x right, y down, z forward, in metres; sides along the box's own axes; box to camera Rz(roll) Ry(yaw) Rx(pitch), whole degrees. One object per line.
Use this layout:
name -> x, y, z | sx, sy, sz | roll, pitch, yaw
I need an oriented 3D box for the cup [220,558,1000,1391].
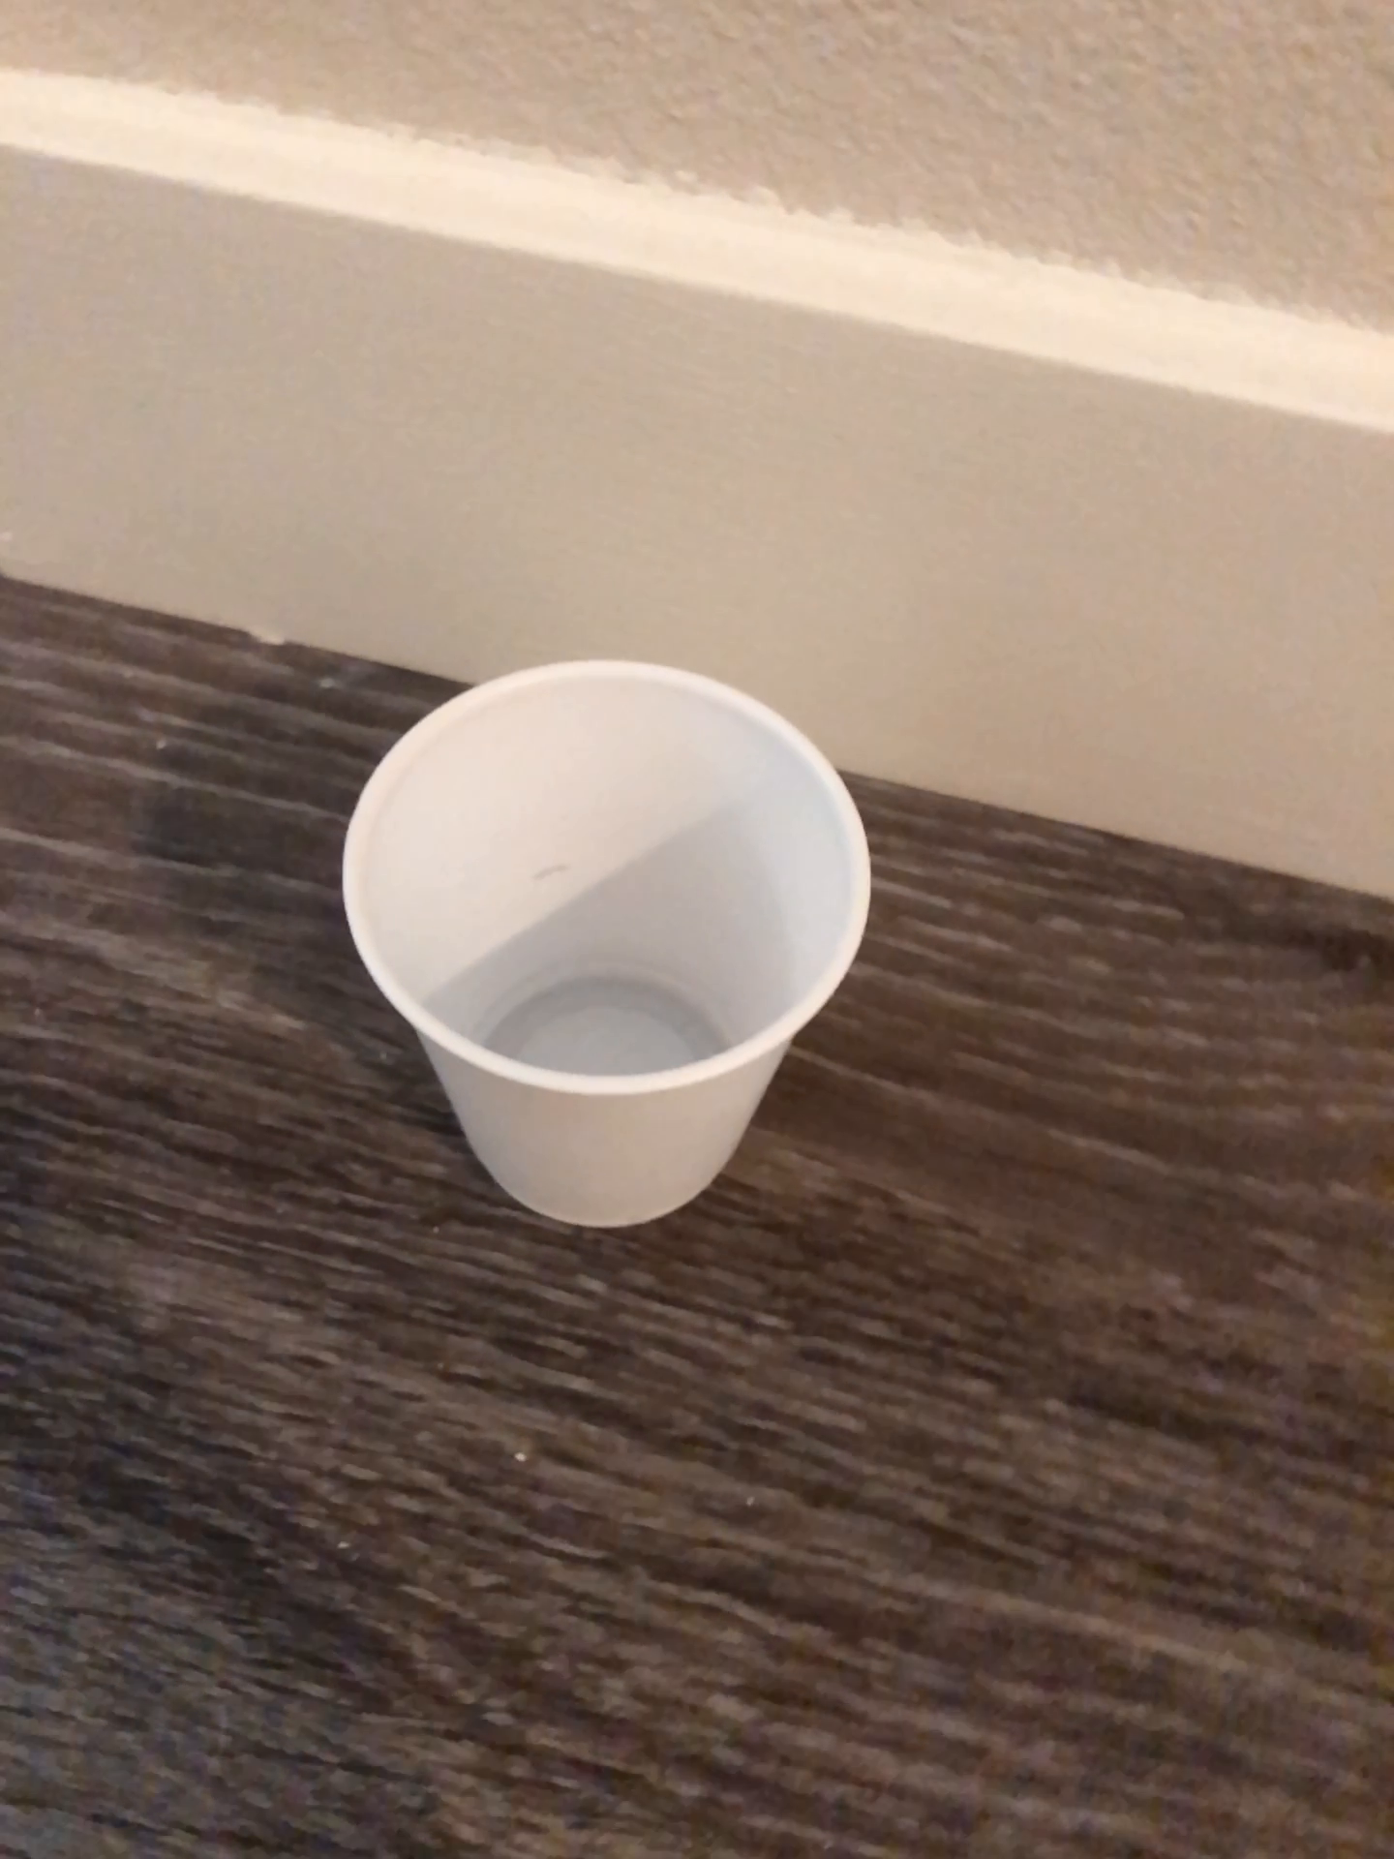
cup -> -0.010, 0.006, 0.195 | 0.060, 0.060, 0.060 | 2, 57, -3
